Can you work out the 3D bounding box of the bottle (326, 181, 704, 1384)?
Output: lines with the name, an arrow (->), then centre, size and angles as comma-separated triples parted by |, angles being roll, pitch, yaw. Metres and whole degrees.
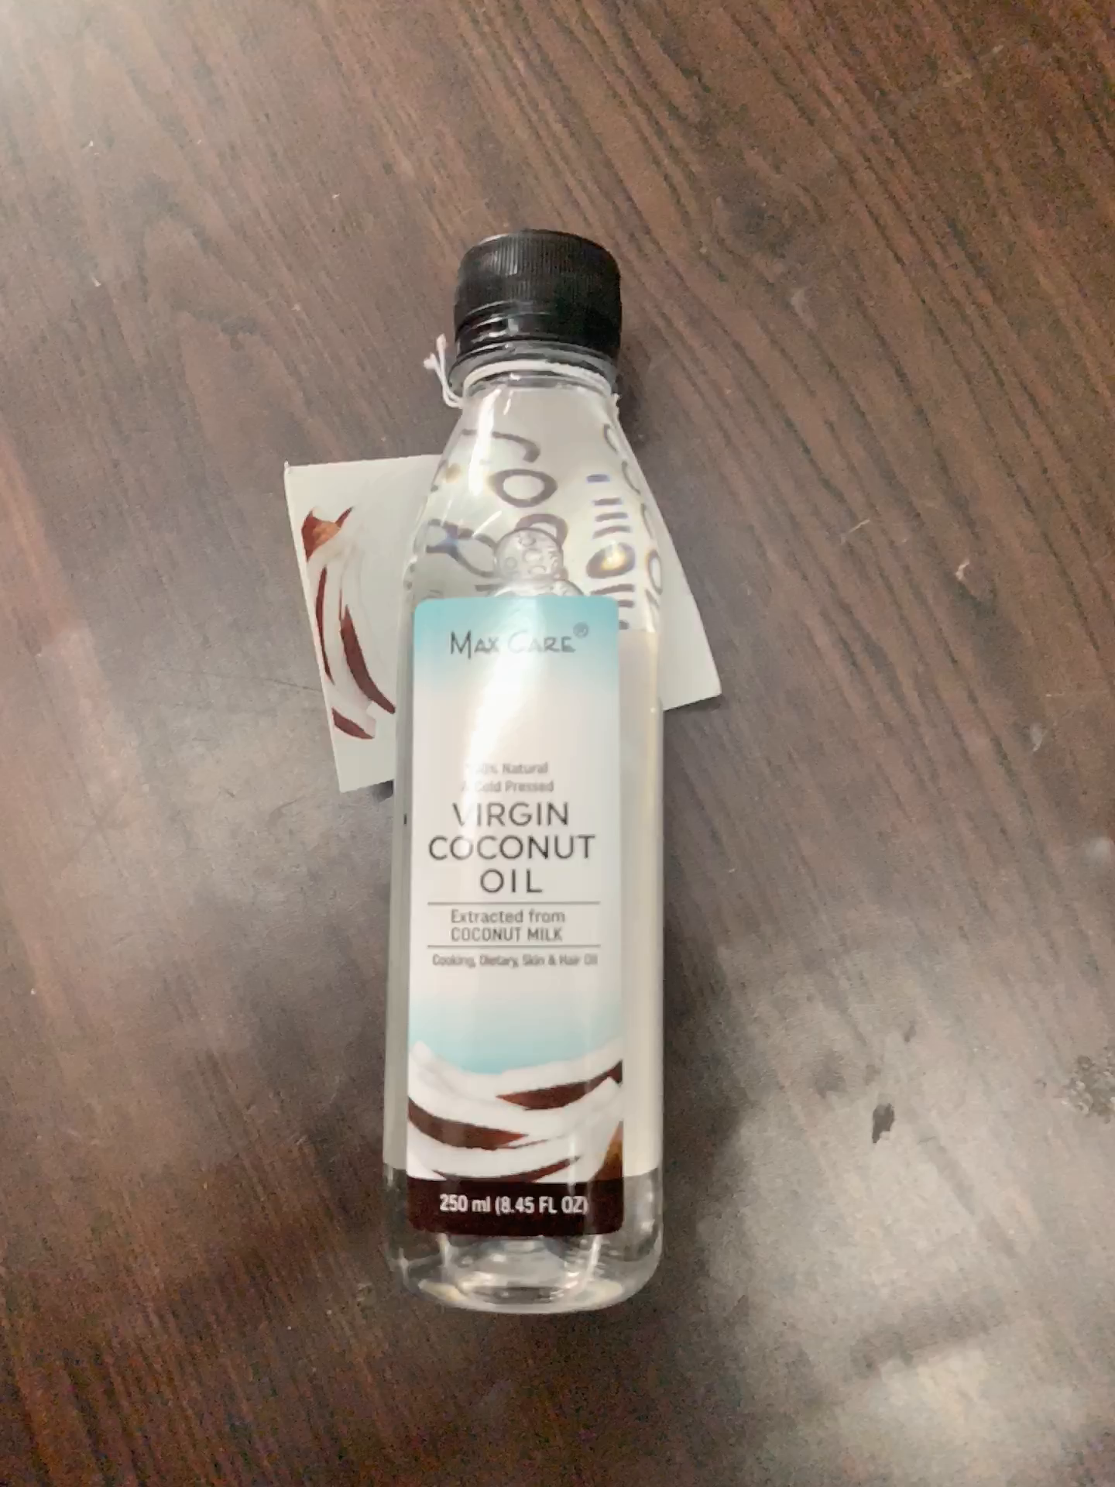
bottle -> -0.003, 0.003, 0.188 | 0.050, 0.050, 0.170 | 1, 83, 3
